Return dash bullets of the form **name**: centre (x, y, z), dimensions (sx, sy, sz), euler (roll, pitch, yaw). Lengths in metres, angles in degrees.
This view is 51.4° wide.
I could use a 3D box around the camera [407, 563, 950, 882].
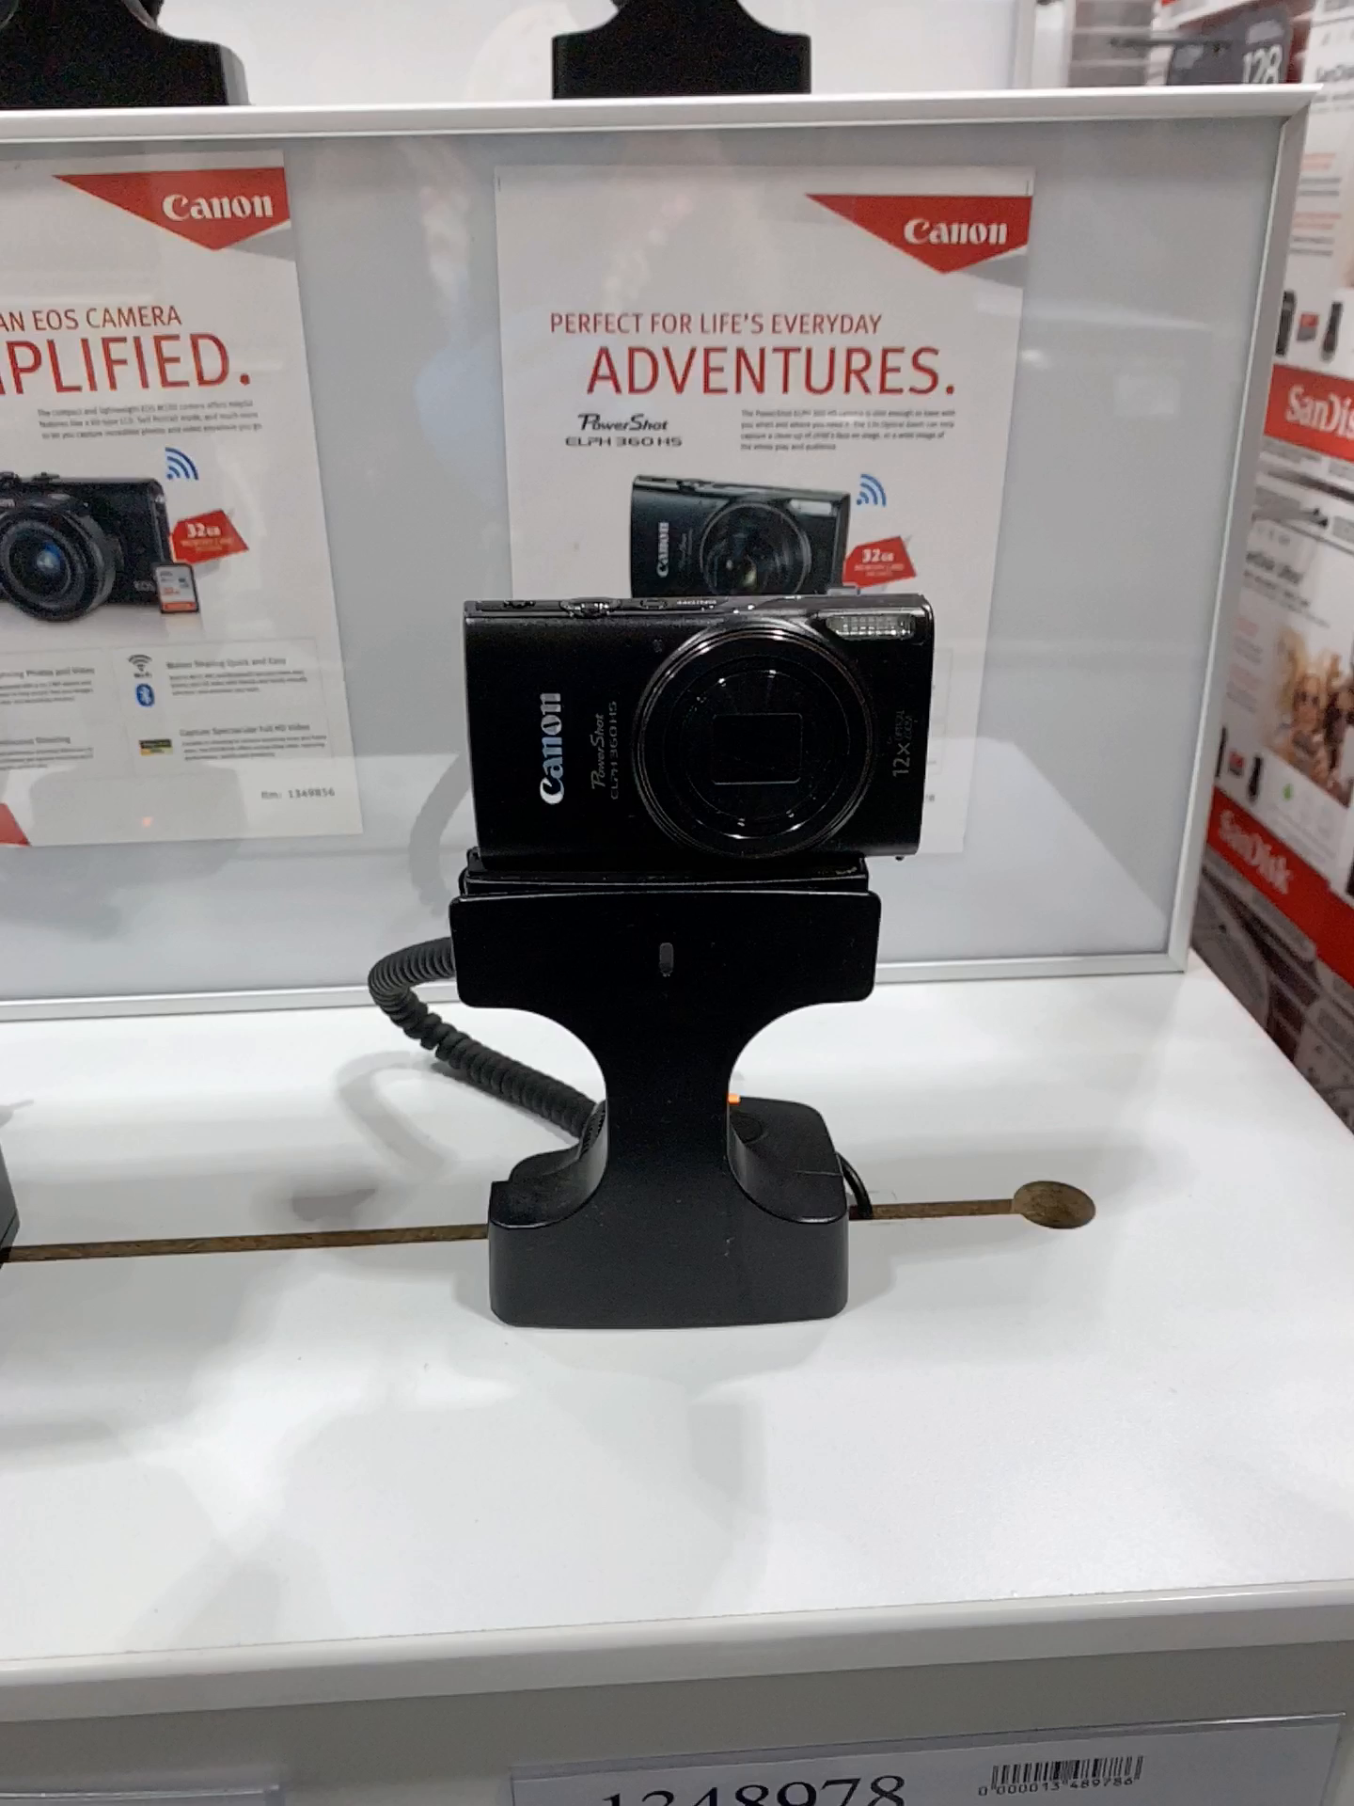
- **camera**: centre (0.001, -0.041, 0.315), dimensions (0.110, 0.060, 0.040), euler (-1, 23, 0)
